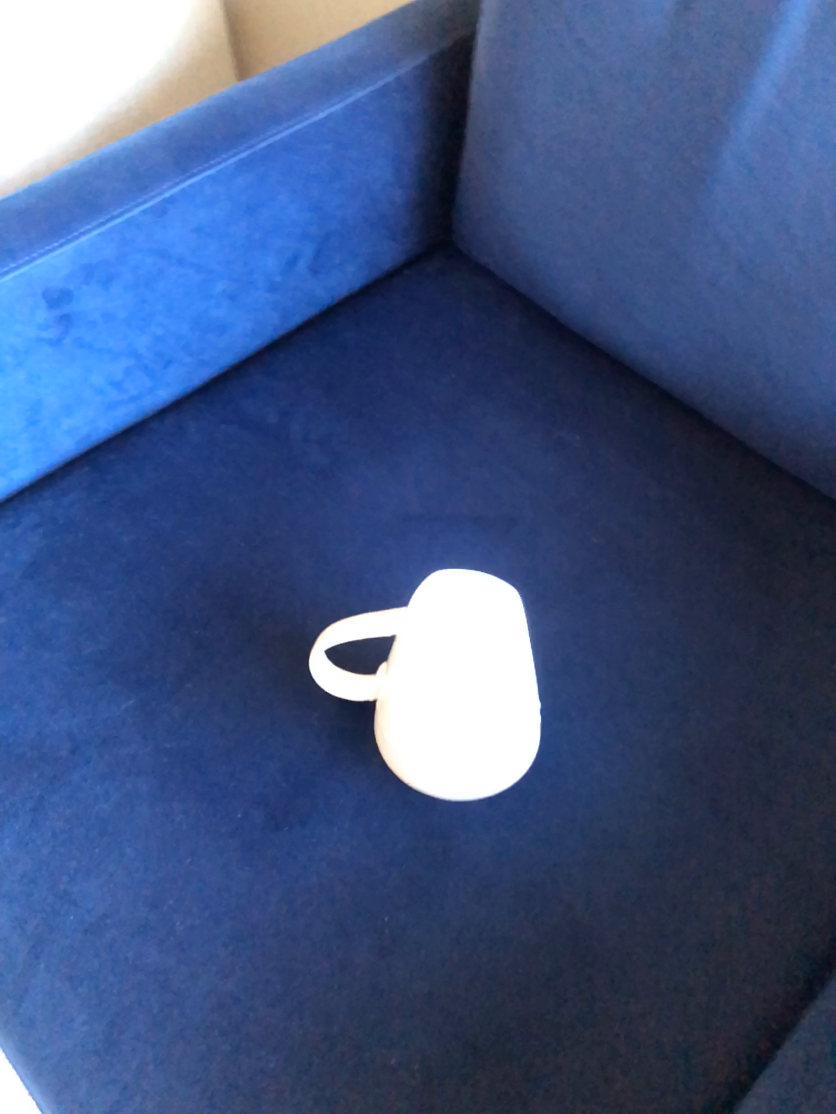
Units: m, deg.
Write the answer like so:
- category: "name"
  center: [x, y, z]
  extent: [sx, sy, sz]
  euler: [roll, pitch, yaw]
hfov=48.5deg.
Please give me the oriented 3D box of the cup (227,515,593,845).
- category: "cup"
  center: [0.002, 0.061, 0.474]
  extent: [0.150, 0.090, 0.110]
  euler: [10, 55, 11]
